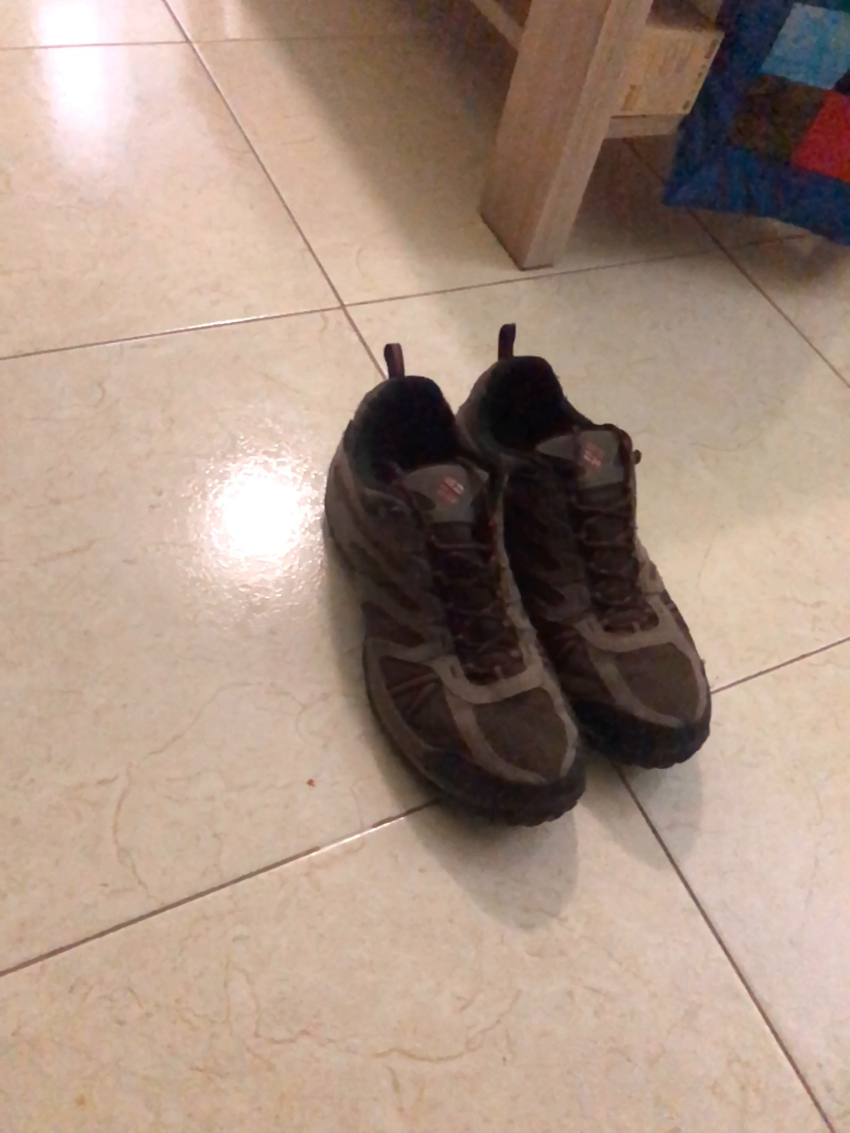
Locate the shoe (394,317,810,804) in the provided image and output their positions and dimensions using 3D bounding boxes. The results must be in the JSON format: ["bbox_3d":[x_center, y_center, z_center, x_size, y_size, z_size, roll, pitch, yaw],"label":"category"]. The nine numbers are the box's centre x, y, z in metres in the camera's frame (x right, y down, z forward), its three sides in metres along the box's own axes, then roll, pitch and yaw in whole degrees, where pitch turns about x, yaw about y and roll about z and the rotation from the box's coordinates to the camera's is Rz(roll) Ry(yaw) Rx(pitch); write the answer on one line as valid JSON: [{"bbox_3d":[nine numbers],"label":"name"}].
[{"bbox_3d":[0.101,-0.017,0.652,0.120,0.120,0.311,-14,59,-22],"label":"shoe"}]

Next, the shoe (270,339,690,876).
[{"bbox_3d":[0.013,0.010,0.593,0.130,0.110,0.311,-13,58,-21],"label":"shoe"}]
